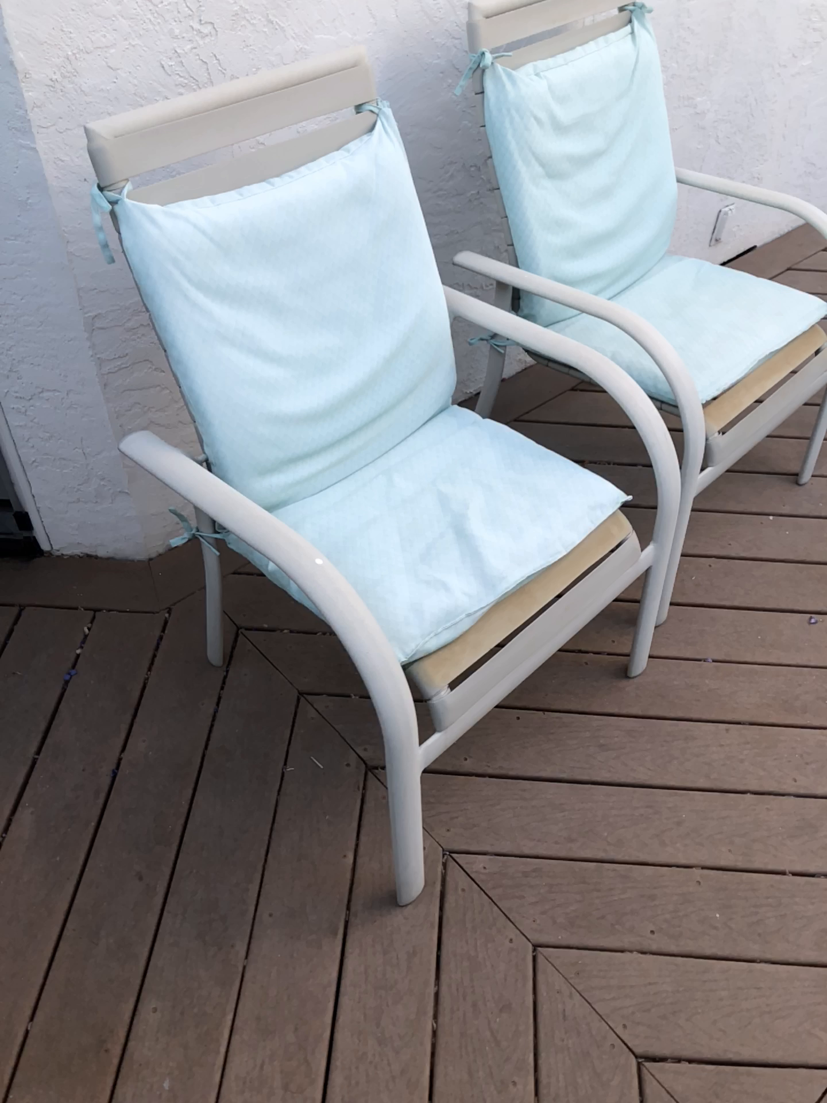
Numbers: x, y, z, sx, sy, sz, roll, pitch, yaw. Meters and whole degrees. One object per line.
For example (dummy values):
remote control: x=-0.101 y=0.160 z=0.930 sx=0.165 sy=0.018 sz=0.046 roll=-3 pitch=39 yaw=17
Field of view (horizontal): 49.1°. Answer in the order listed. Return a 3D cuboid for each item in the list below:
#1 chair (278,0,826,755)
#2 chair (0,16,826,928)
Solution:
chair: x=0.355 y=-0.422 z=2.010 sx=0.872 sy=1.273 sz=0.843 roll=36 pitch=54 yaw=29
chair: x=-0.008 y=-0.139 z=1.411 sx=0.782 sy=0.965 sz=0.702 roll=36 pitch=54 yaw=29
